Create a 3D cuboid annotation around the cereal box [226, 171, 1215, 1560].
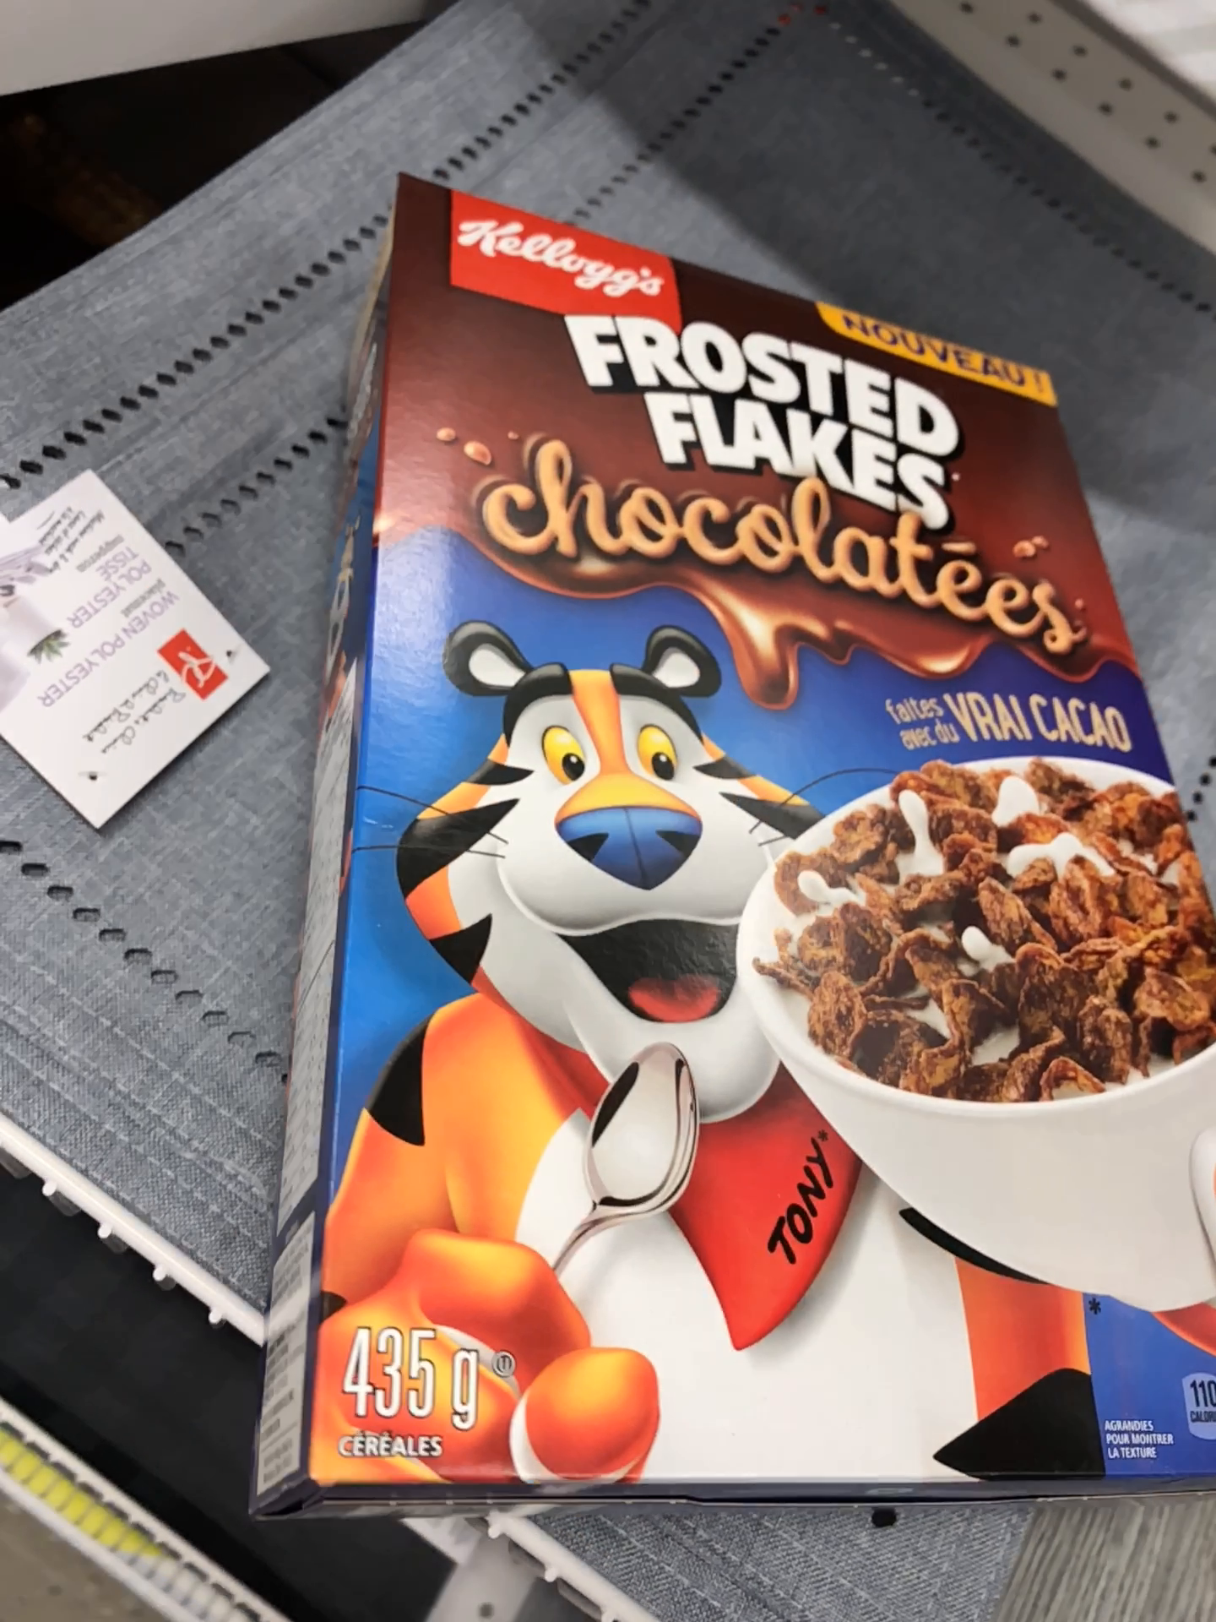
[{"bbox_3d":[0.035,-0.001,0.331,0.210,0.070,0.310,9,55,-19],"label":"cereal box"}]
